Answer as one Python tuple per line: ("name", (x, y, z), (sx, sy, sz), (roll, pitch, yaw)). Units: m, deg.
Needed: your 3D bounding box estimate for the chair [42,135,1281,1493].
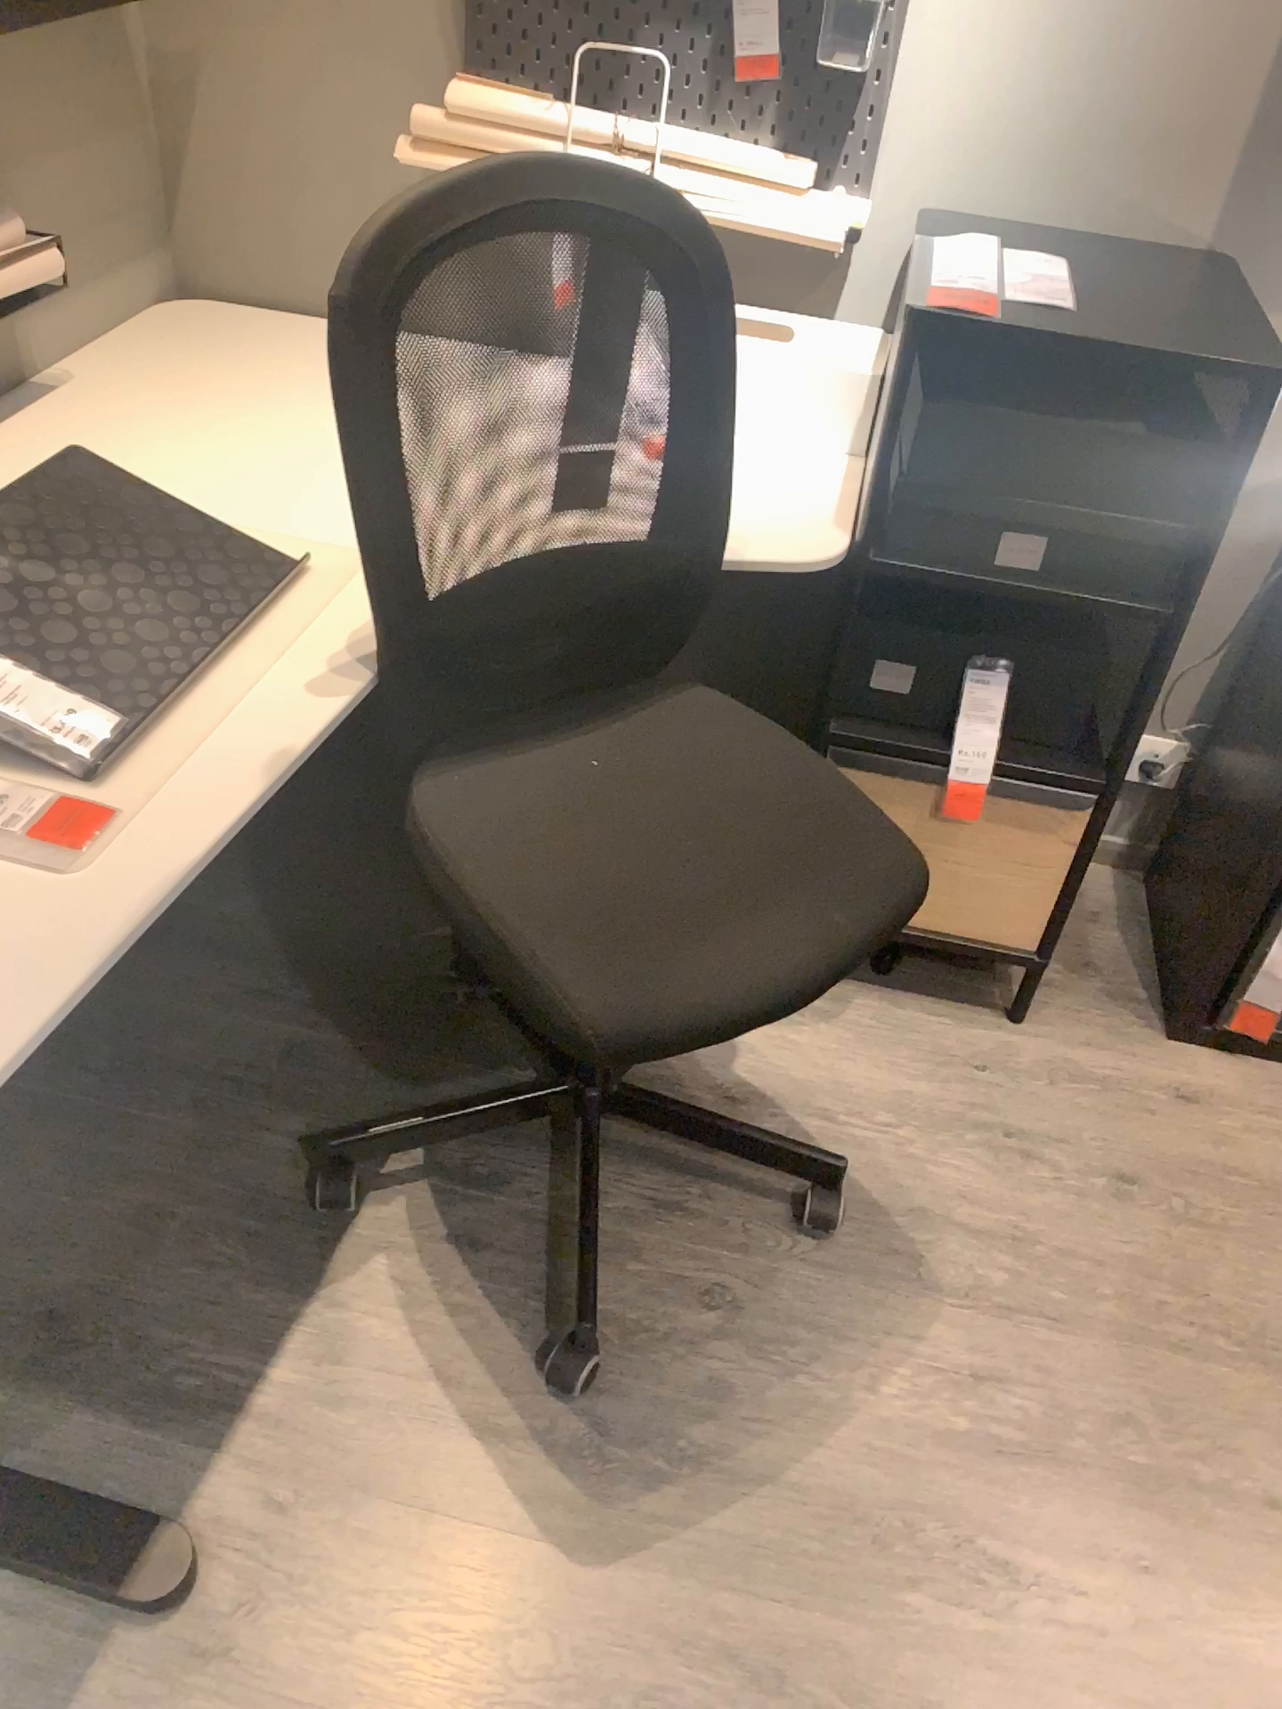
("chair", (-0.040, -0.074, 1.325), (0.691, 0.996, 0.712), (-22, 48, -30))
